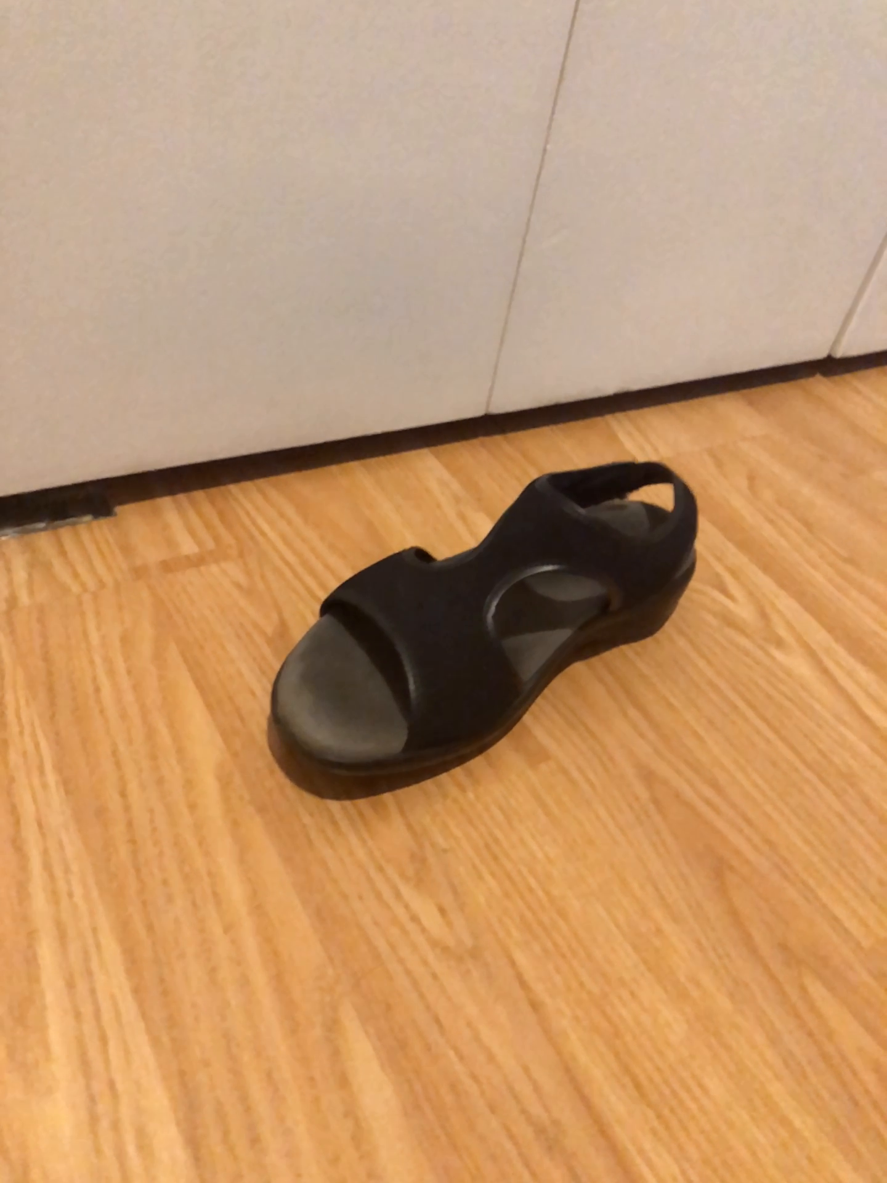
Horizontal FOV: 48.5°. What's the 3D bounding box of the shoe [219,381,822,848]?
[{"bbox_3d":[0.038,-0.005,0.443,0.250,0.100,0.100,-20,50,-33],"label":"shoe"}]
